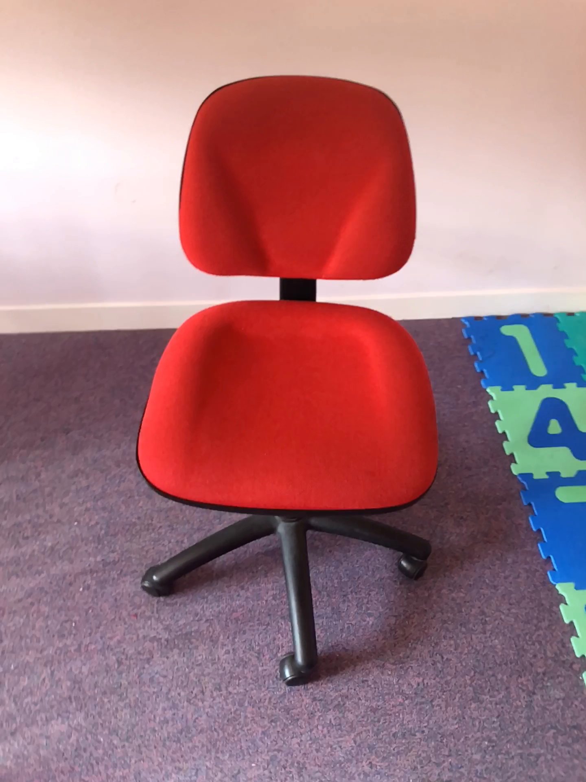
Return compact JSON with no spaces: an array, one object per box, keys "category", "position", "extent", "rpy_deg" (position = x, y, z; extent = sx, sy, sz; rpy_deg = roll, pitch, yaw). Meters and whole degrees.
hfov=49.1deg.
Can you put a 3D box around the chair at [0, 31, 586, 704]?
[{"category":"chair","position":[0.013,0.019,1.082],"extent":[0.640,0.895,0.674],"rpy_deg":[3,49,0]}]
